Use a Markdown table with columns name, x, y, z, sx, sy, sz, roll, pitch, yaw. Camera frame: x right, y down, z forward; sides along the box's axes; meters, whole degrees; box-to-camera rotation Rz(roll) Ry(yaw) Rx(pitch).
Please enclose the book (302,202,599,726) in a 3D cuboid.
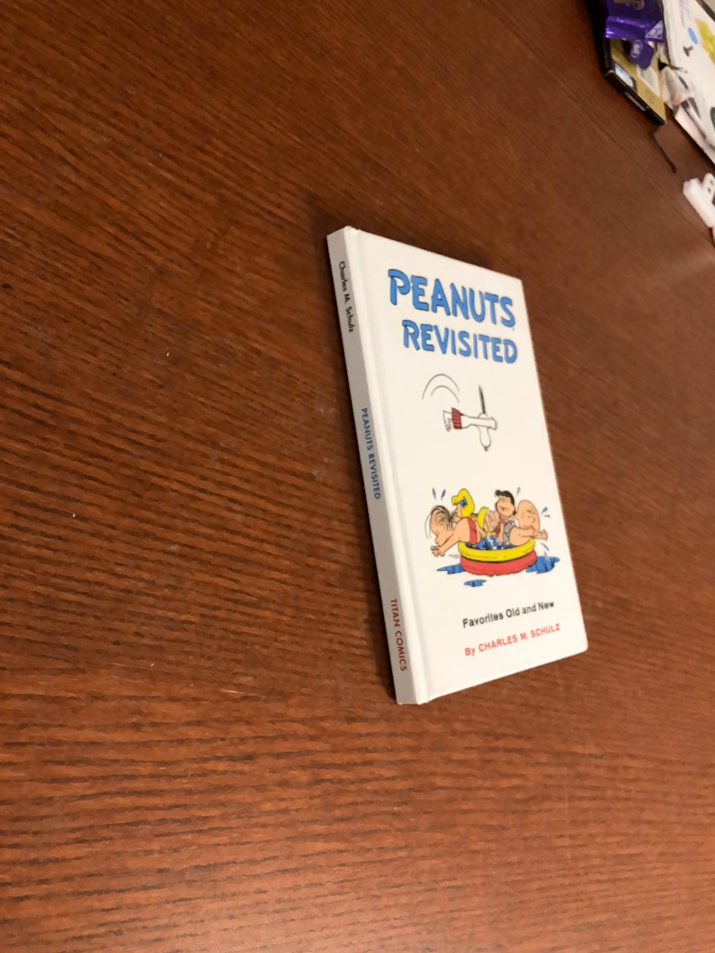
| name | x | y | z | sx | sy | sz | roll | pitch | yaw |
| --- | --- | --- | --- | --- | --- | --- | --- | --- | --- |
| book | 0.051 | -0.009 | 0.386 | 0.151 | 0.020 | 0.220 | 0 | 78 | -45 |
